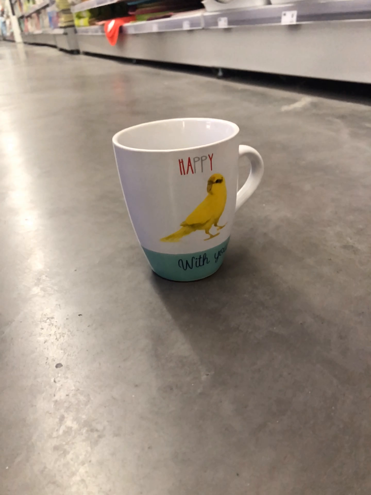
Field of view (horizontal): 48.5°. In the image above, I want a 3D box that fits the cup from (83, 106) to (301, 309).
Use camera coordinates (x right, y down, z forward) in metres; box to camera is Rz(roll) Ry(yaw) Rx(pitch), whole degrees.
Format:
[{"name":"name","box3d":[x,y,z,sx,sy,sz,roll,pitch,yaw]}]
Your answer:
[{"name":"cup","box3d":[0.005,-0.041,0.326,0.130,0.107,0.098,-17,30,-21]}]
